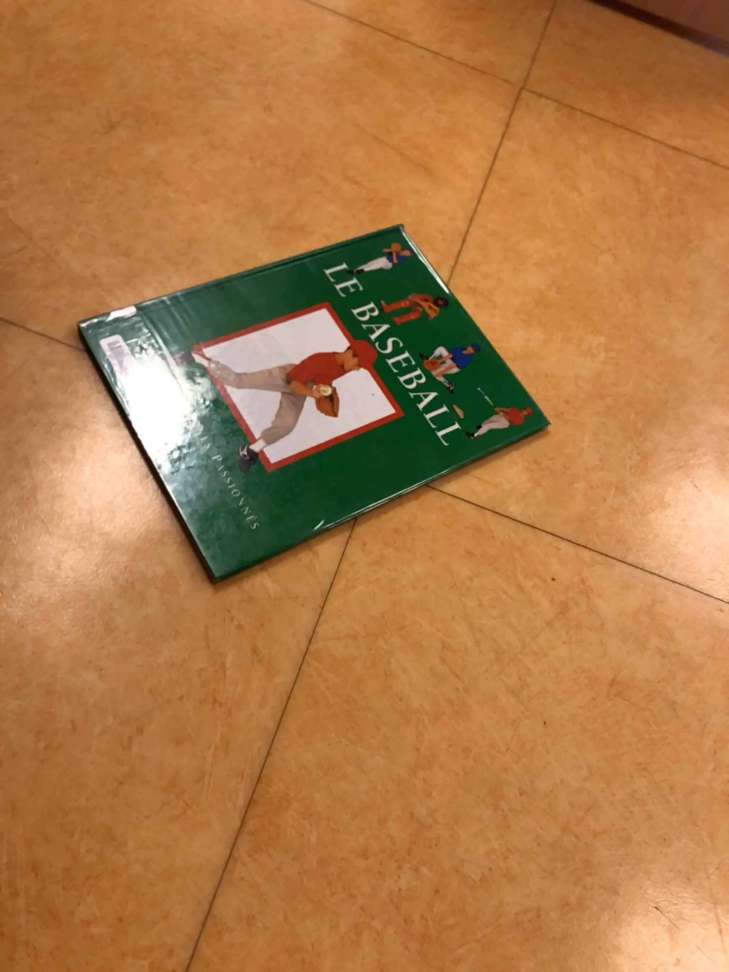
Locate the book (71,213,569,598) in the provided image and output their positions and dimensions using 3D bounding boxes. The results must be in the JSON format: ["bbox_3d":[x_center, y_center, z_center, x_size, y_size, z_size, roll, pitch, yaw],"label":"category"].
[{"bbox_3d":[-0.026,-0.077,0.570,0.281,0.020,0.219,-24,70,-24],"label":"book"}]
